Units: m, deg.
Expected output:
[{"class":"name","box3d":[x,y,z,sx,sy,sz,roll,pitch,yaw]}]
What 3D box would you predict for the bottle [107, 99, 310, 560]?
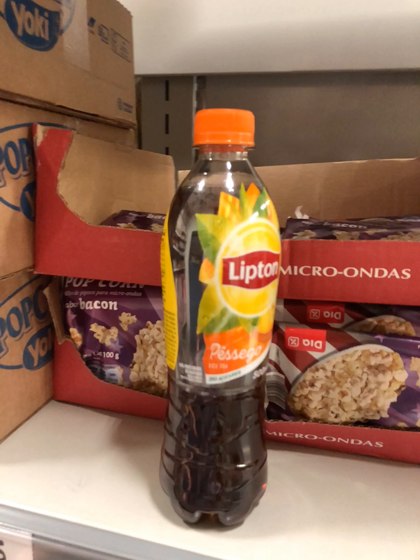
[{"class":"bottle","box3d":[-0.003,0.024,0.248,0.070,0.219,0.070,0,15,0]}]
